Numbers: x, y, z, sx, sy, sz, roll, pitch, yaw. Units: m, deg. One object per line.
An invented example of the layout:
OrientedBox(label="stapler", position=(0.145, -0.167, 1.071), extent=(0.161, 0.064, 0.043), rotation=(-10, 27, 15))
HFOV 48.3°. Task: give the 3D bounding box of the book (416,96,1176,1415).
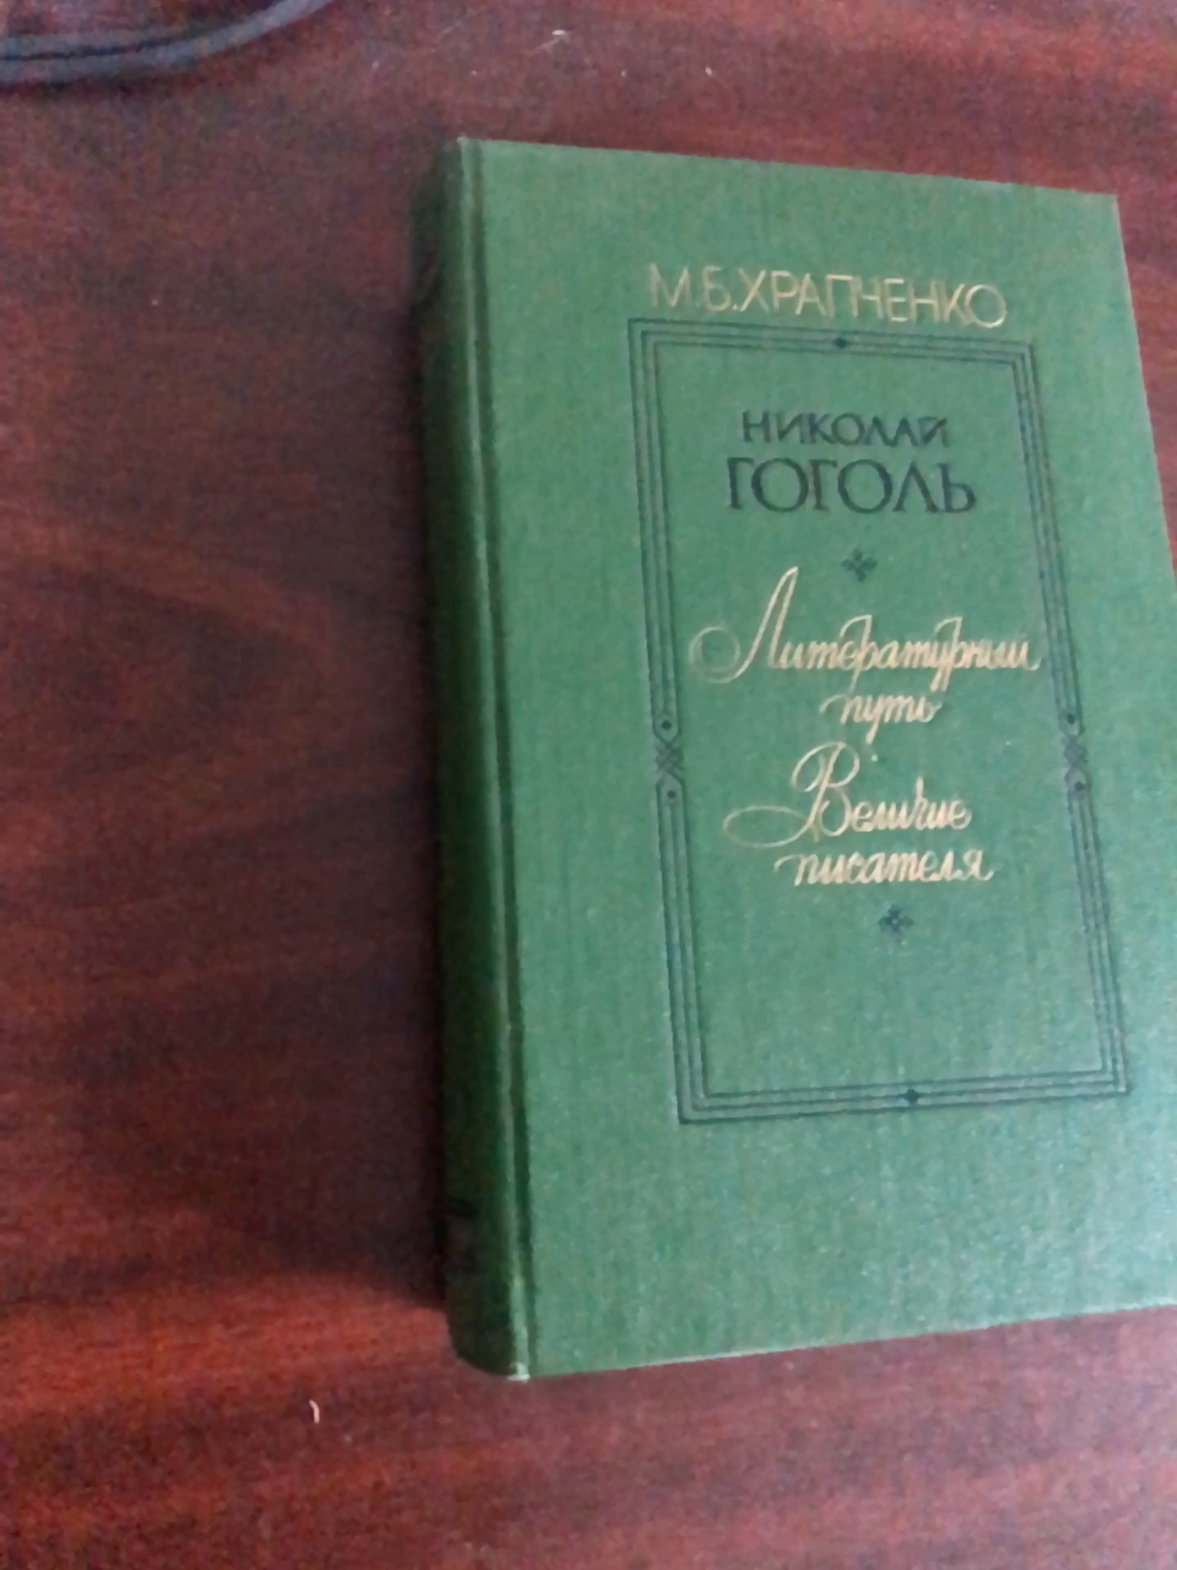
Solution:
OrientedBox(label="book", position=(0.040, -0.011, 0.237), extent=(0.129, 0.050, 0.206), rotation=(-1, 78, -12))
